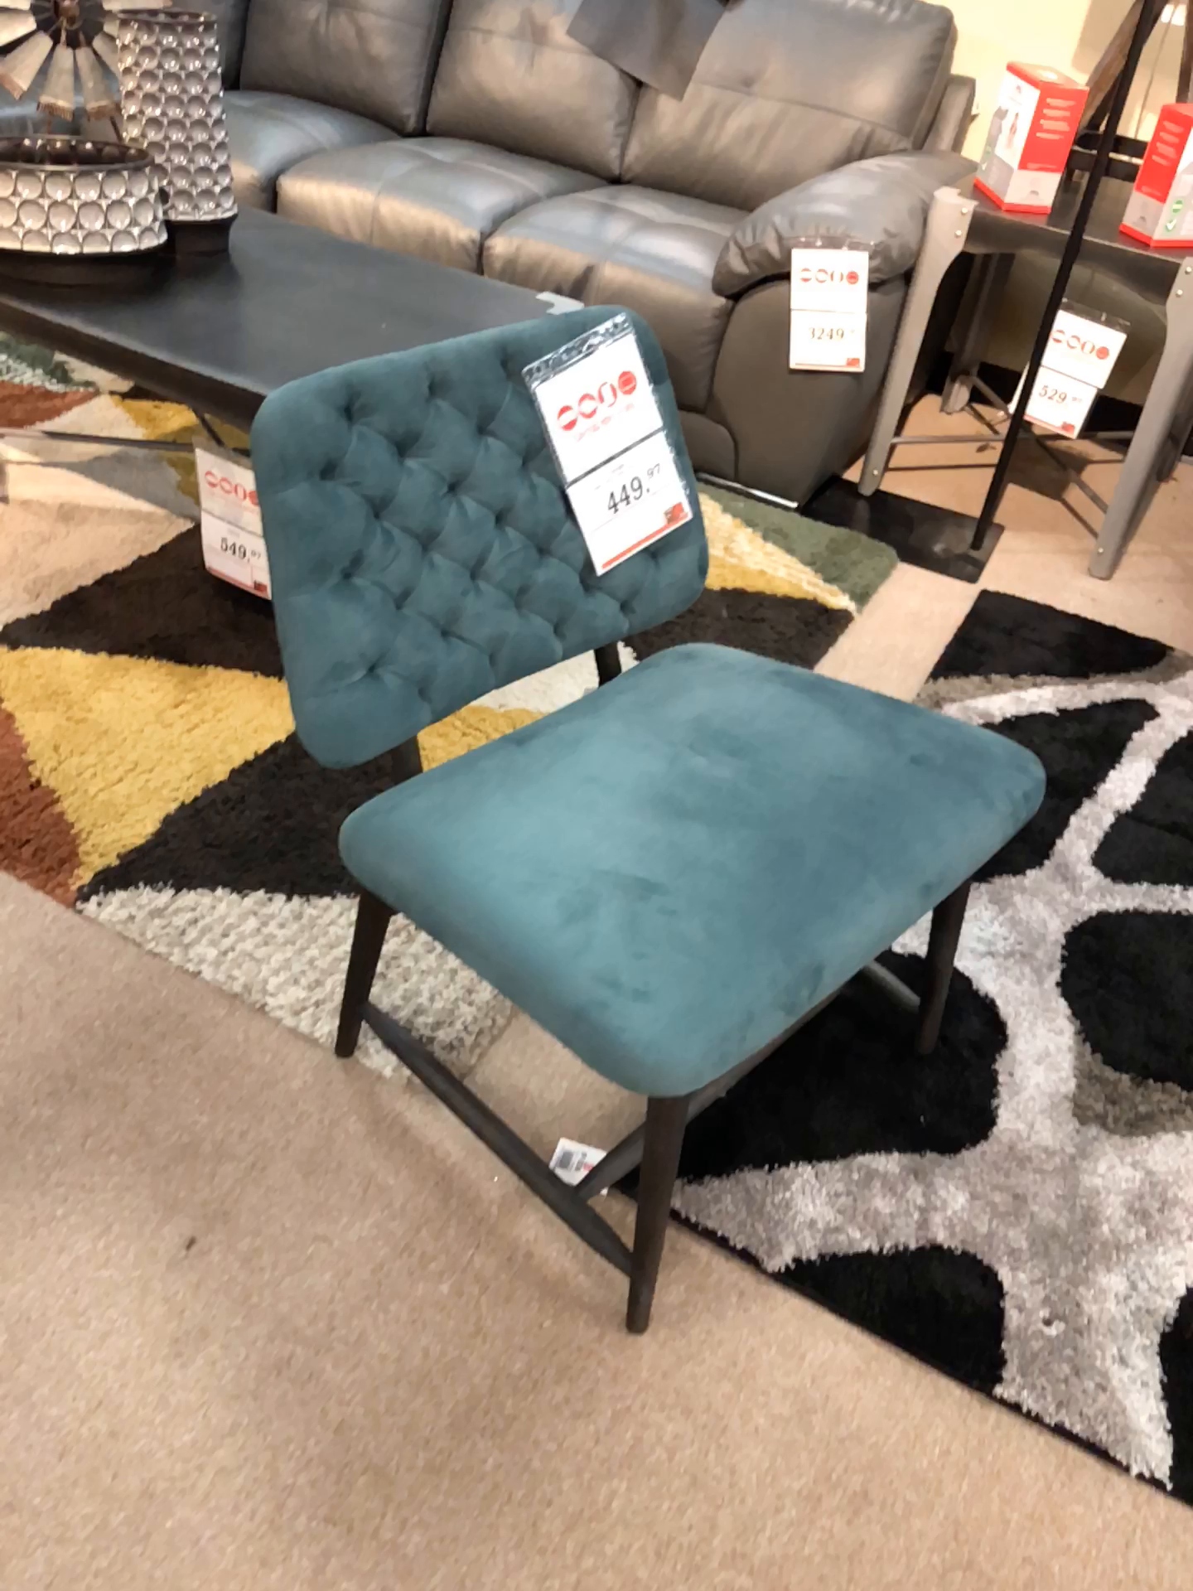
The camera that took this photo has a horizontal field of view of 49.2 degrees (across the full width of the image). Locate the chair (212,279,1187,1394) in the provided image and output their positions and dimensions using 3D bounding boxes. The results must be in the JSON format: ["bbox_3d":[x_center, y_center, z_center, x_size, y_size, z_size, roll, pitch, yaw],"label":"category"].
[{"bbox_3d":[0.065,-0.003,1.304,0.533,0.765,0.641,33,43,29],"label":"chair"}]
